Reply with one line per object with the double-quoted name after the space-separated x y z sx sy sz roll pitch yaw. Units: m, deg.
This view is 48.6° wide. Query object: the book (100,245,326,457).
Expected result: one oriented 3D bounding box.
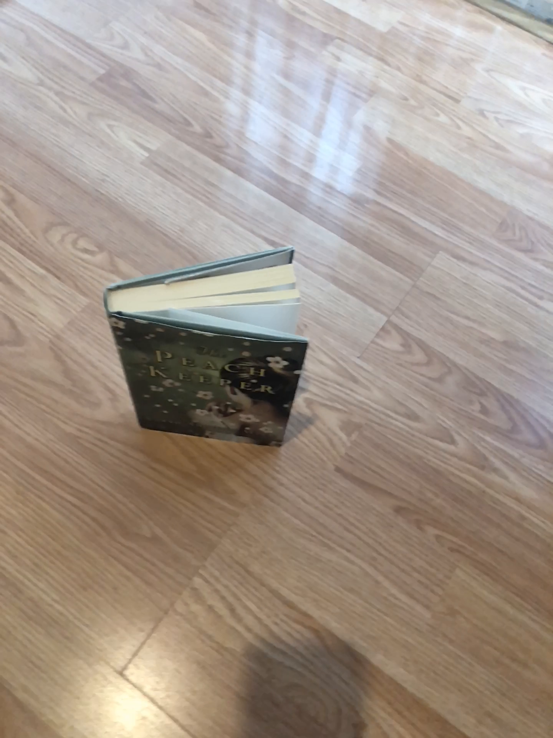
-0.056 -0.003 0.522 0.150 0.220 0.080 -3 64 -8 "book"
